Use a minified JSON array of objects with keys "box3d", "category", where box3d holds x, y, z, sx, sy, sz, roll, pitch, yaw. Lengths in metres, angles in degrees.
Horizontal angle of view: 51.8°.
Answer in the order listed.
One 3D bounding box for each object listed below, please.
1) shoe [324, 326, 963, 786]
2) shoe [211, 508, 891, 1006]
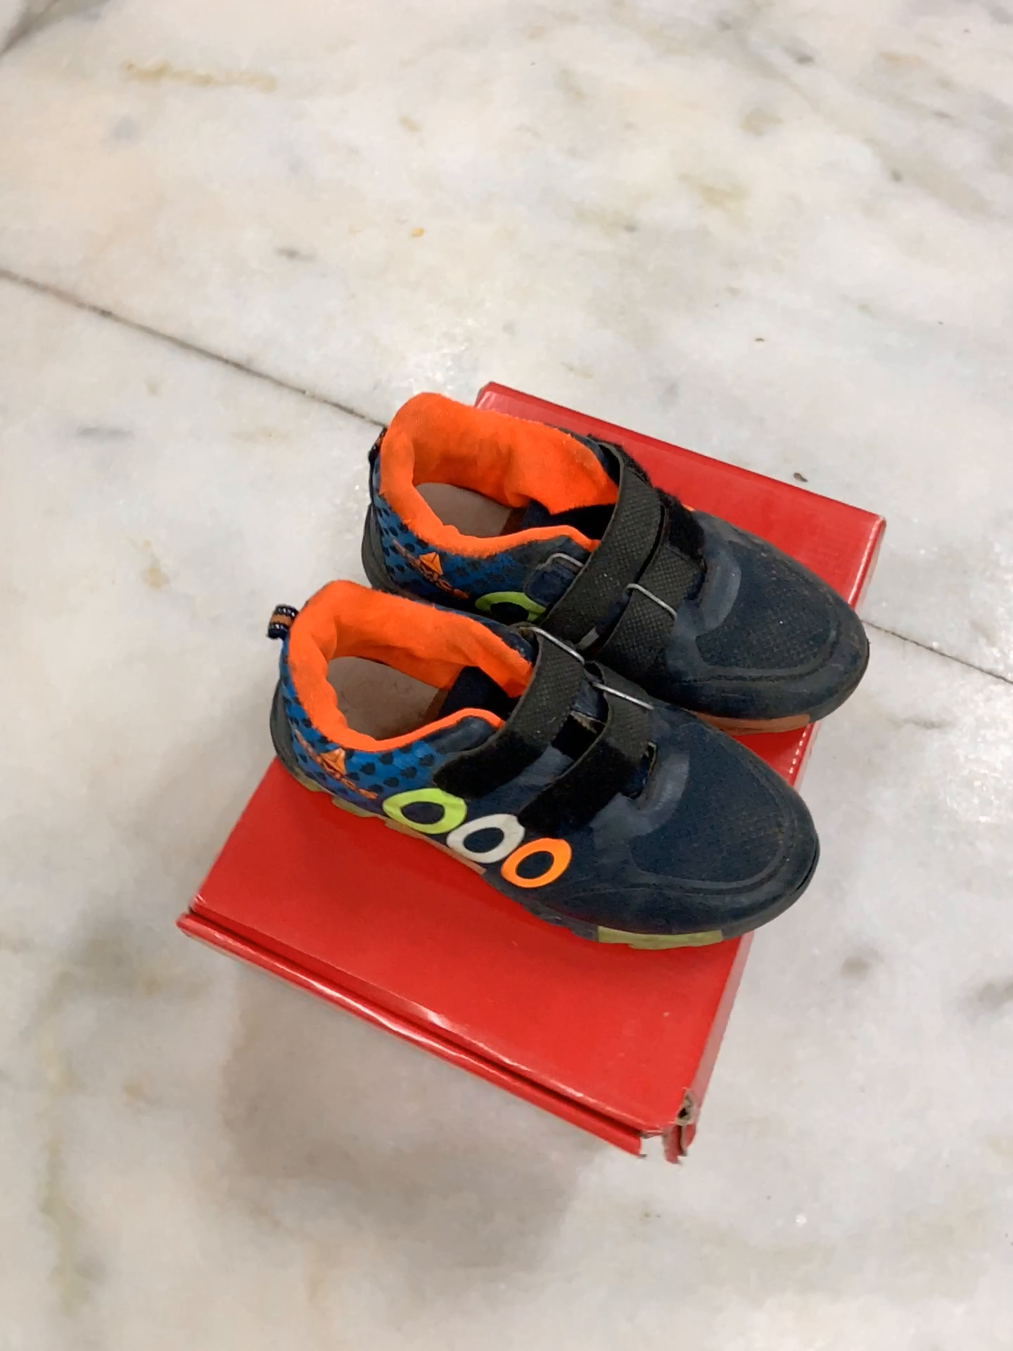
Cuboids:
[{"box3d":[0.047,-0.045,0.403,0.210,0.080,0.080,22,66,9],"category":"shoe"},{"box3d":[0.015,0.032,0.391,0.210,0.090,0.090,21,66,8],"category":"shoe"}]
